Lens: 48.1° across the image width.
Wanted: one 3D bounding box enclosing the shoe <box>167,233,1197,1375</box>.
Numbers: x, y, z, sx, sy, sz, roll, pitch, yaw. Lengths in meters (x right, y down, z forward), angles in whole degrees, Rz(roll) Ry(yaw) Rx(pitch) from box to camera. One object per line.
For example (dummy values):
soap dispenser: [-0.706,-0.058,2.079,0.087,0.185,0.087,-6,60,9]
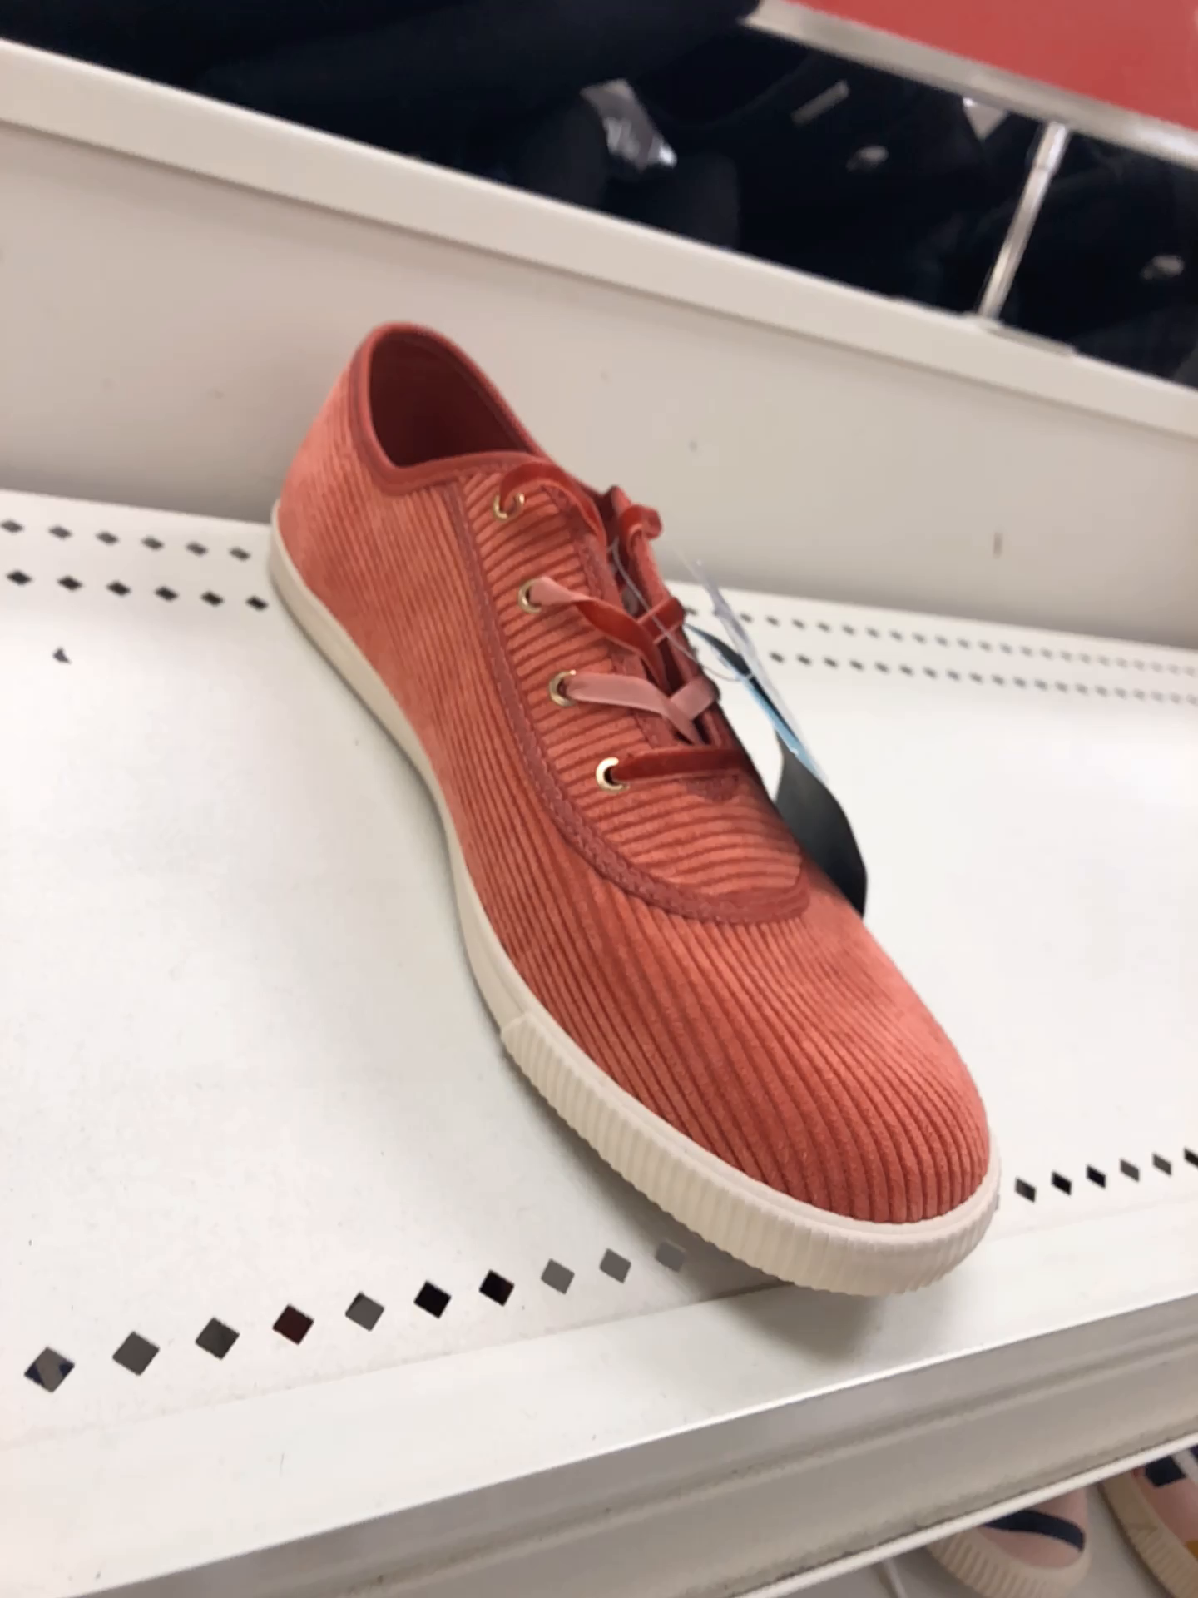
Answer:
shoe: [-0.007,-0.035,0.340,0.100,0.089,0.322,-1,37,-36]
